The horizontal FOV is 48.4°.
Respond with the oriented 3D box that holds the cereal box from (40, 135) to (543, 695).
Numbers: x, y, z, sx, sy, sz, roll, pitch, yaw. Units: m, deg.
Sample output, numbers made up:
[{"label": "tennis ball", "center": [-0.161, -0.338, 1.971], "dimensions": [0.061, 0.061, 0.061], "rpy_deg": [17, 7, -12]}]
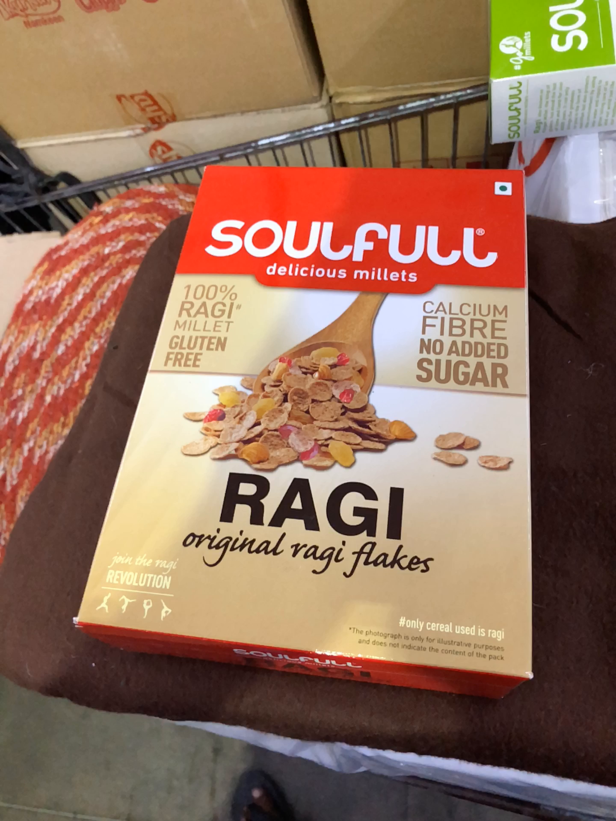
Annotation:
[{"label": "cereal box", "center": [0.007, -0.016, 0.304], "dimensions": [0.170, 0.050, 0.241], "rpy_deg": [4, 63, 8]}]
